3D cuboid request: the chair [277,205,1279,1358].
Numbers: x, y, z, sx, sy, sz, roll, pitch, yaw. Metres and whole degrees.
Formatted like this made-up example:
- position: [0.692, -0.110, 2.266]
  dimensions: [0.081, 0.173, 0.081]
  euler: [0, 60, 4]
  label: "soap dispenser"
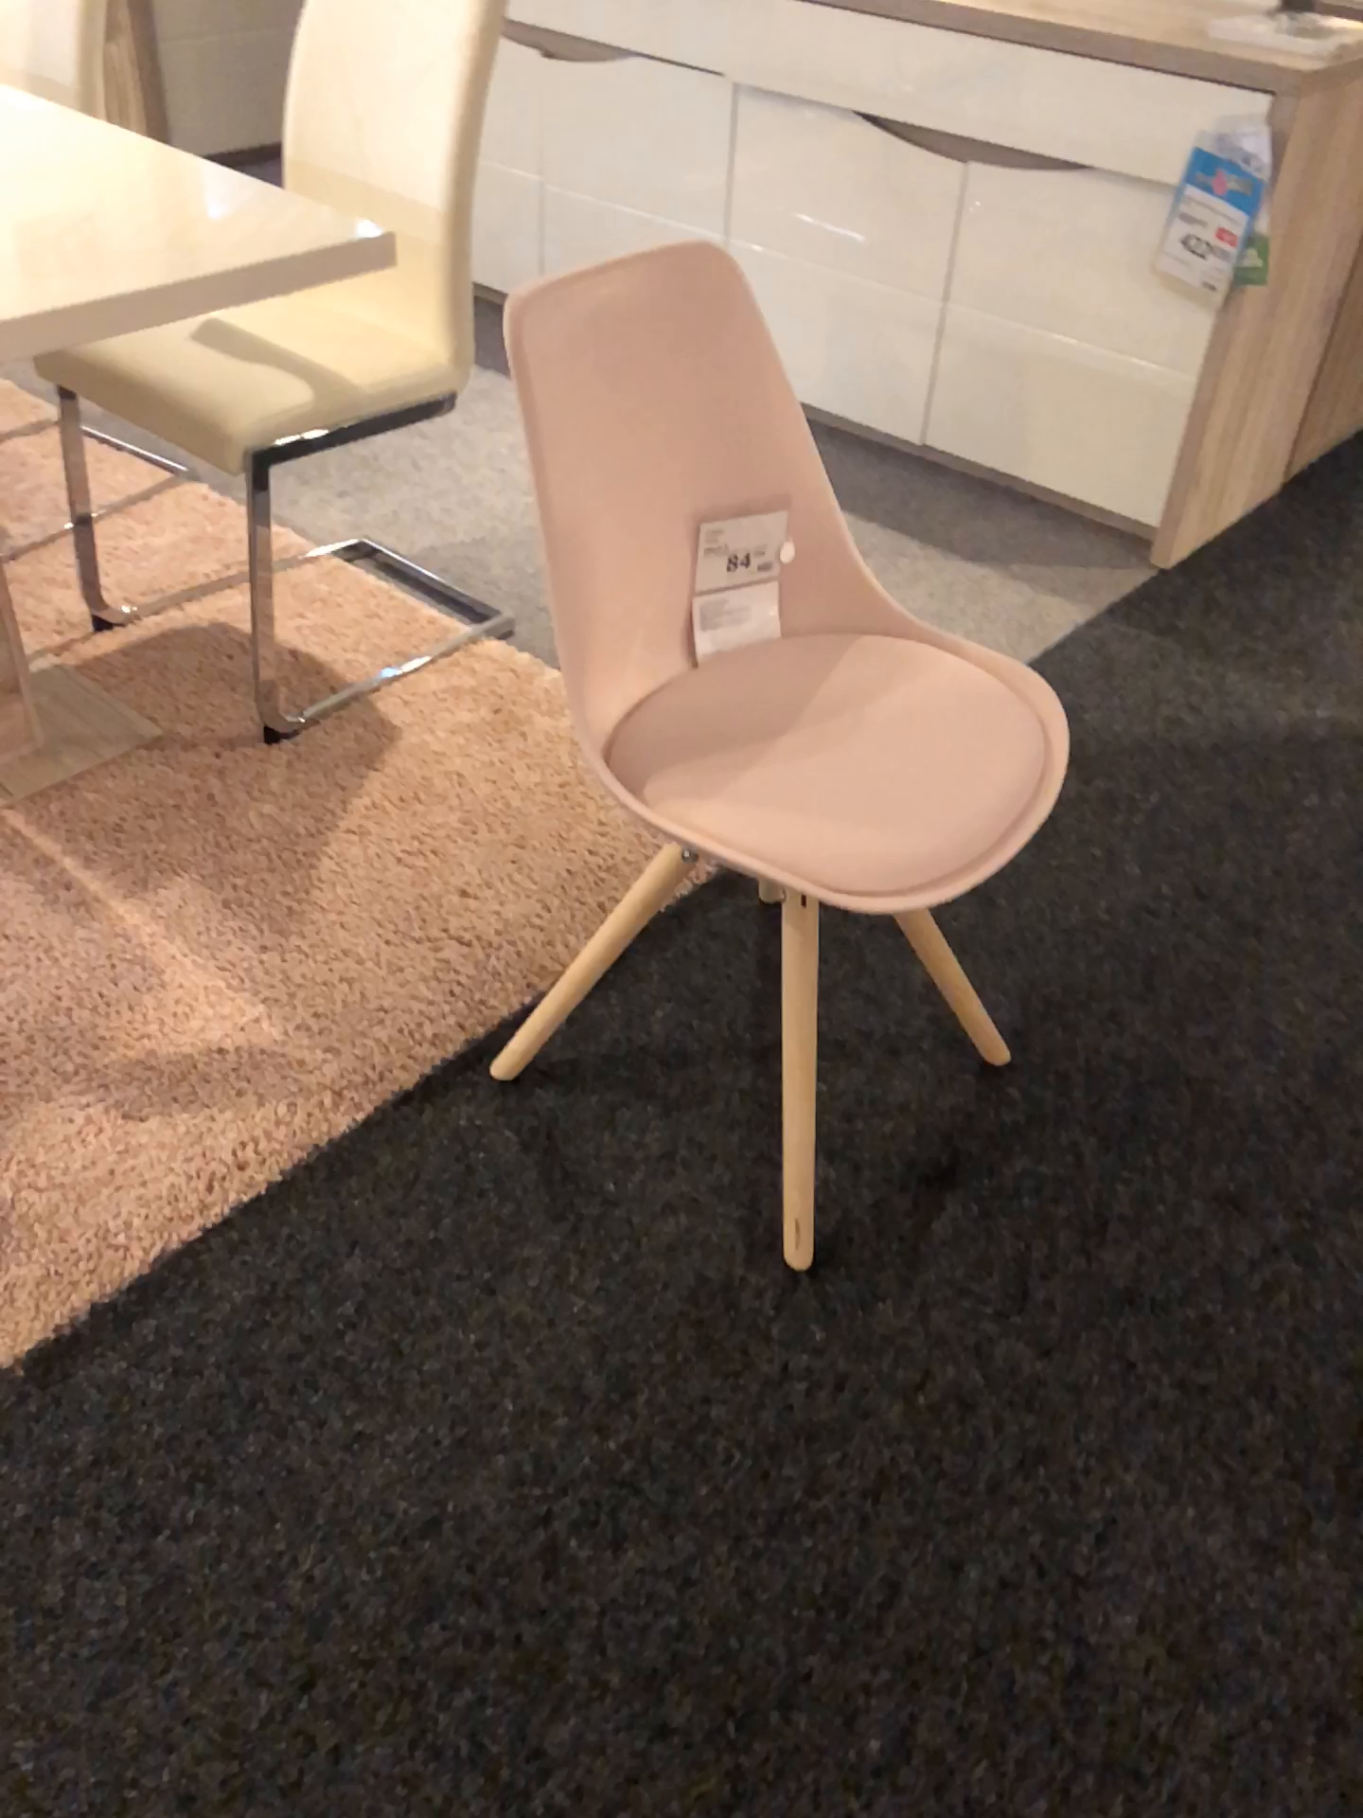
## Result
- position: [0.071, -0.148, 1.412]
  dimensions: [0.560, 0.765, 0.574]
  euler: [29, 45, 28]
  label: "chair"
